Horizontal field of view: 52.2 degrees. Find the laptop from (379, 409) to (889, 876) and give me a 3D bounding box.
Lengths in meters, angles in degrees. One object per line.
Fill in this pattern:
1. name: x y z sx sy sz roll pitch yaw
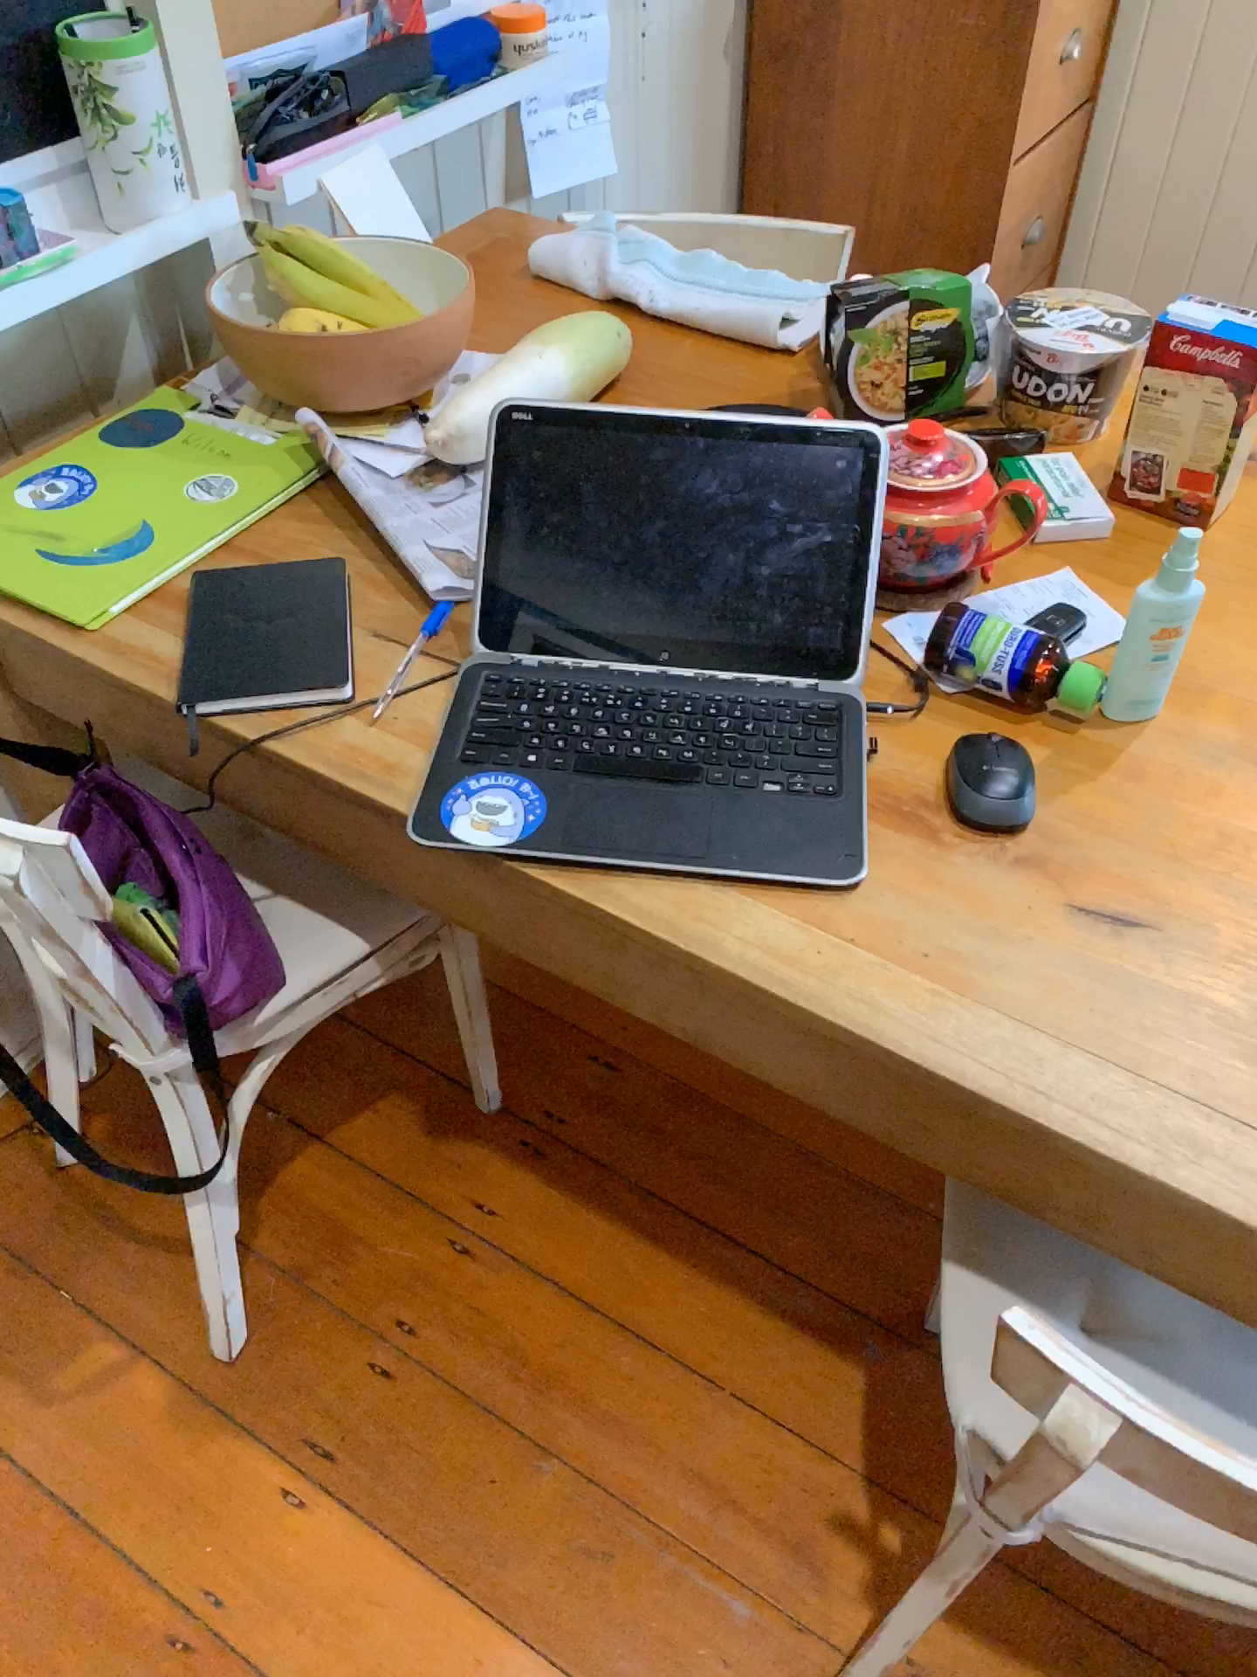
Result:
1. laptop: 0.024 -0.156 0.926 0.303 0.139 0.341 5 46 5
